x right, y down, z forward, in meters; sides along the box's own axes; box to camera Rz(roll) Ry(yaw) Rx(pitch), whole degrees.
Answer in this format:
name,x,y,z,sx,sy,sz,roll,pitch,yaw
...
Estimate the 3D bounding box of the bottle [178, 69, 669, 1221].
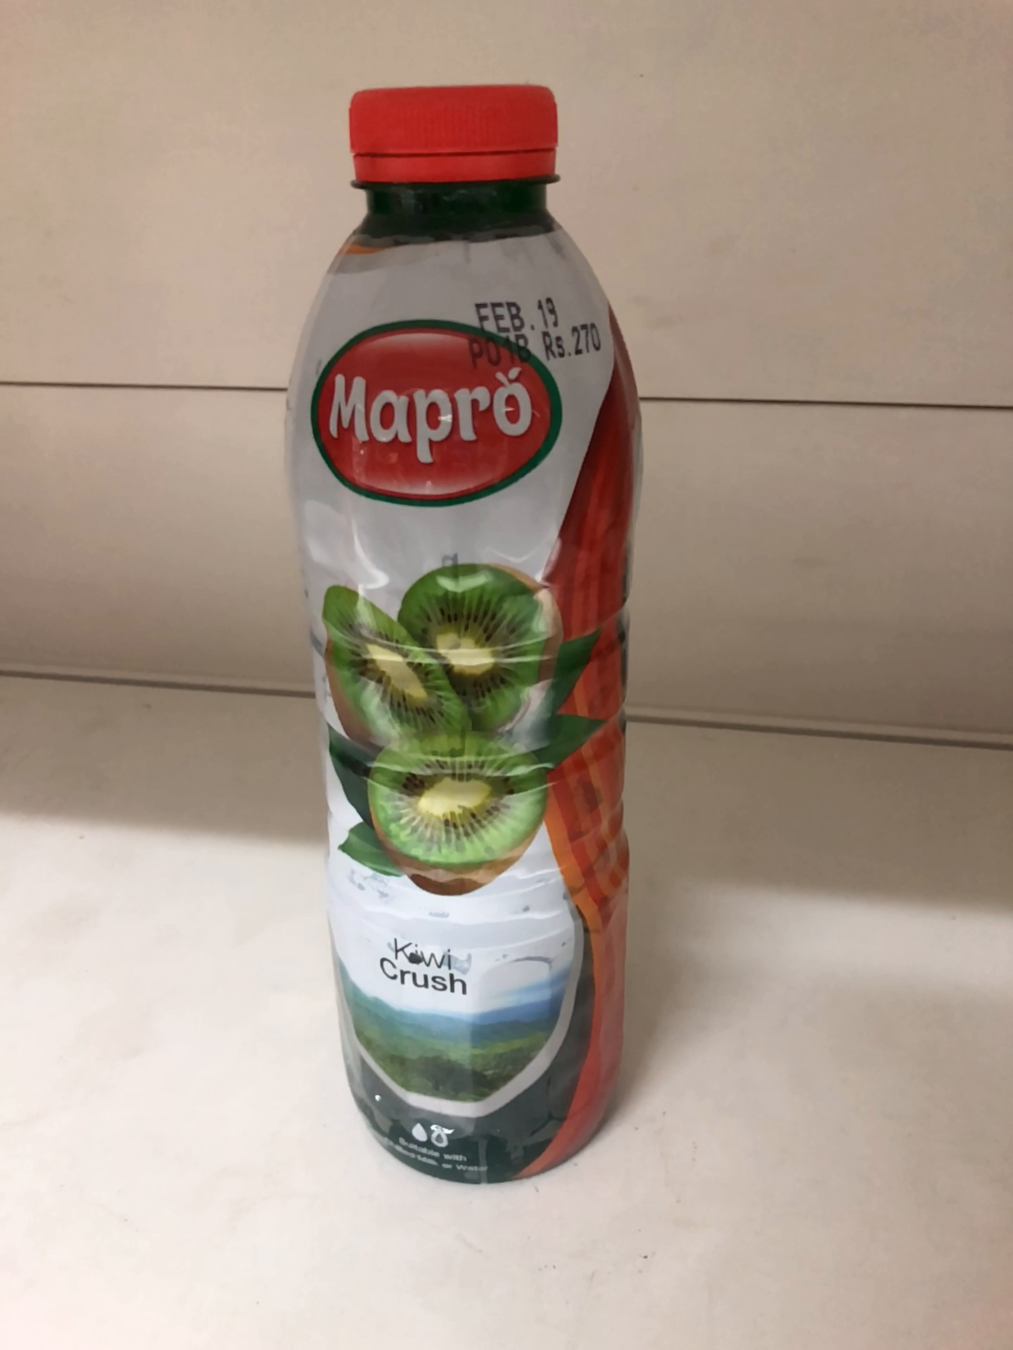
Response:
name,x,y,z,sx,sy,sz,roll,pitch,yaw
bottle,-0.009,0.004,0.271,0.080,0.258,0.070,3,25,10
